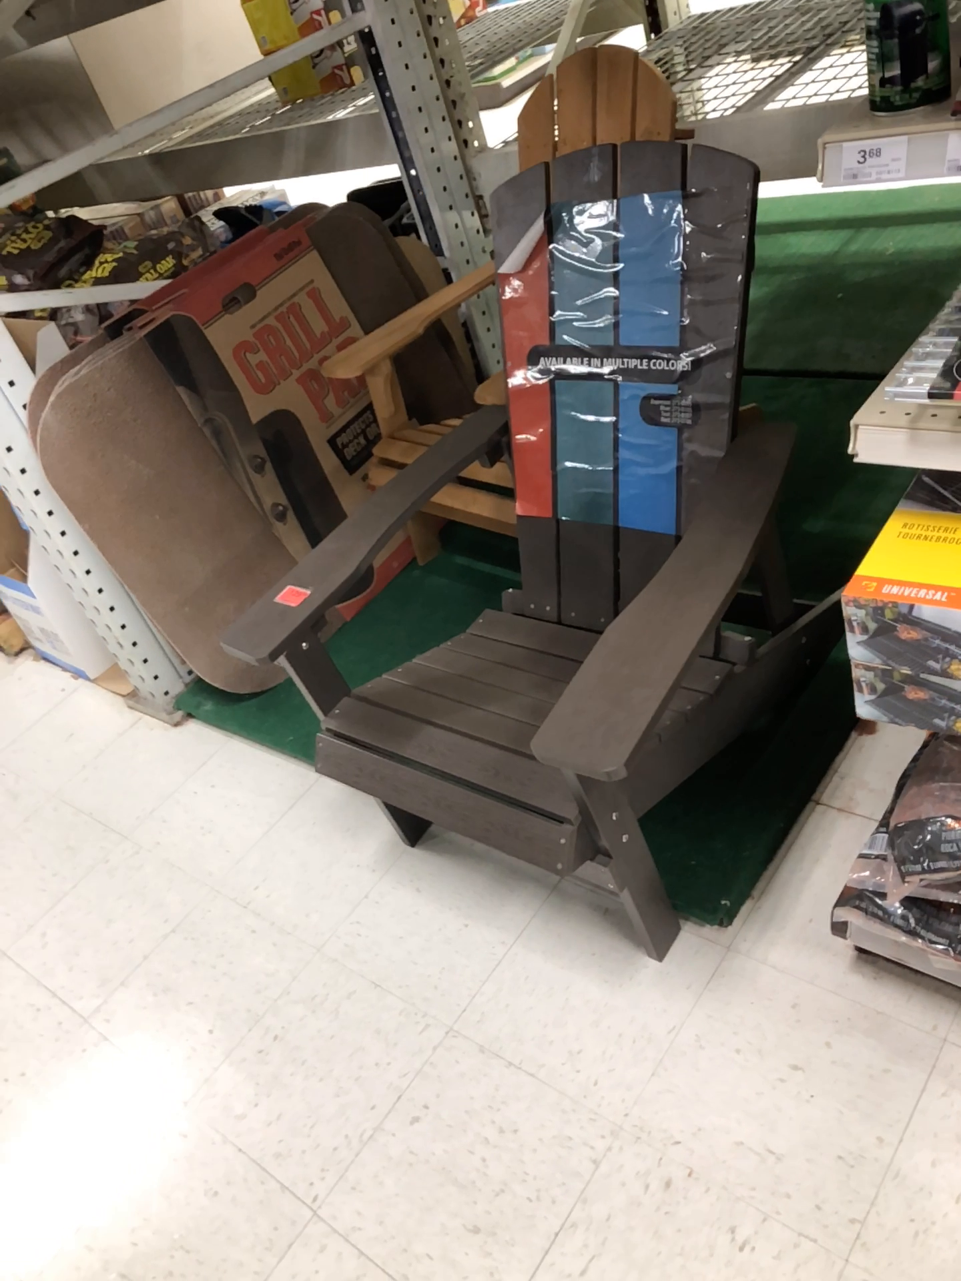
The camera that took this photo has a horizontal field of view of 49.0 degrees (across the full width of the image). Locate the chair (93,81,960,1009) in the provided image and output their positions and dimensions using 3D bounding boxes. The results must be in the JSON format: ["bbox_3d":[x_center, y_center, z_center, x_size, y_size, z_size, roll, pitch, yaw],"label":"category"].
[{"bbox_3d":[0.168,-0.192,1.585,0.719,0.816,0.917,15,49,40],"label":"chair"}]

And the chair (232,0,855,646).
[{"bbox_3d":[0.203,-0.688,2.223,0.639,0.845,0.977,21,53,43],"label":"chair"}]
